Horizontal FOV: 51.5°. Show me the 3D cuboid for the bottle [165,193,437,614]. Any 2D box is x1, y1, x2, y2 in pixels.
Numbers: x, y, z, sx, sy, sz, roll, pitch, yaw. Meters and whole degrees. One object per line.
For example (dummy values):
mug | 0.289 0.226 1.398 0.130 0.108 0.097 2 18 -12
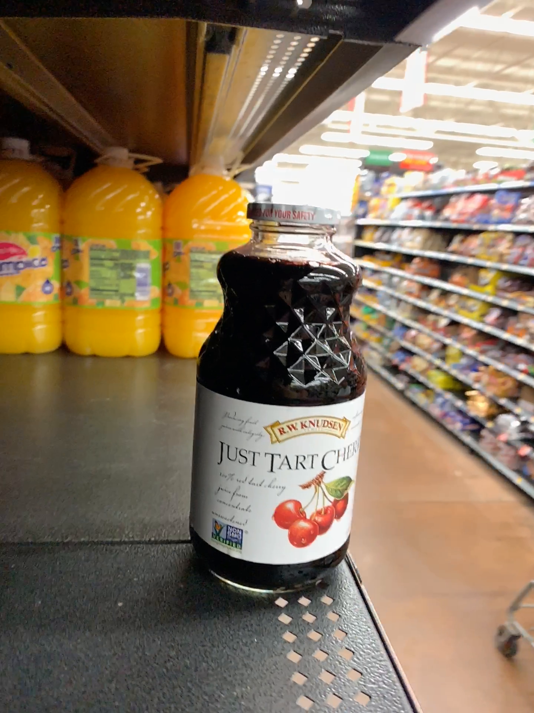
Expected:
bottle | 0.006 0.015 0.318 0.100 0.199 0.110 0 14 -22
